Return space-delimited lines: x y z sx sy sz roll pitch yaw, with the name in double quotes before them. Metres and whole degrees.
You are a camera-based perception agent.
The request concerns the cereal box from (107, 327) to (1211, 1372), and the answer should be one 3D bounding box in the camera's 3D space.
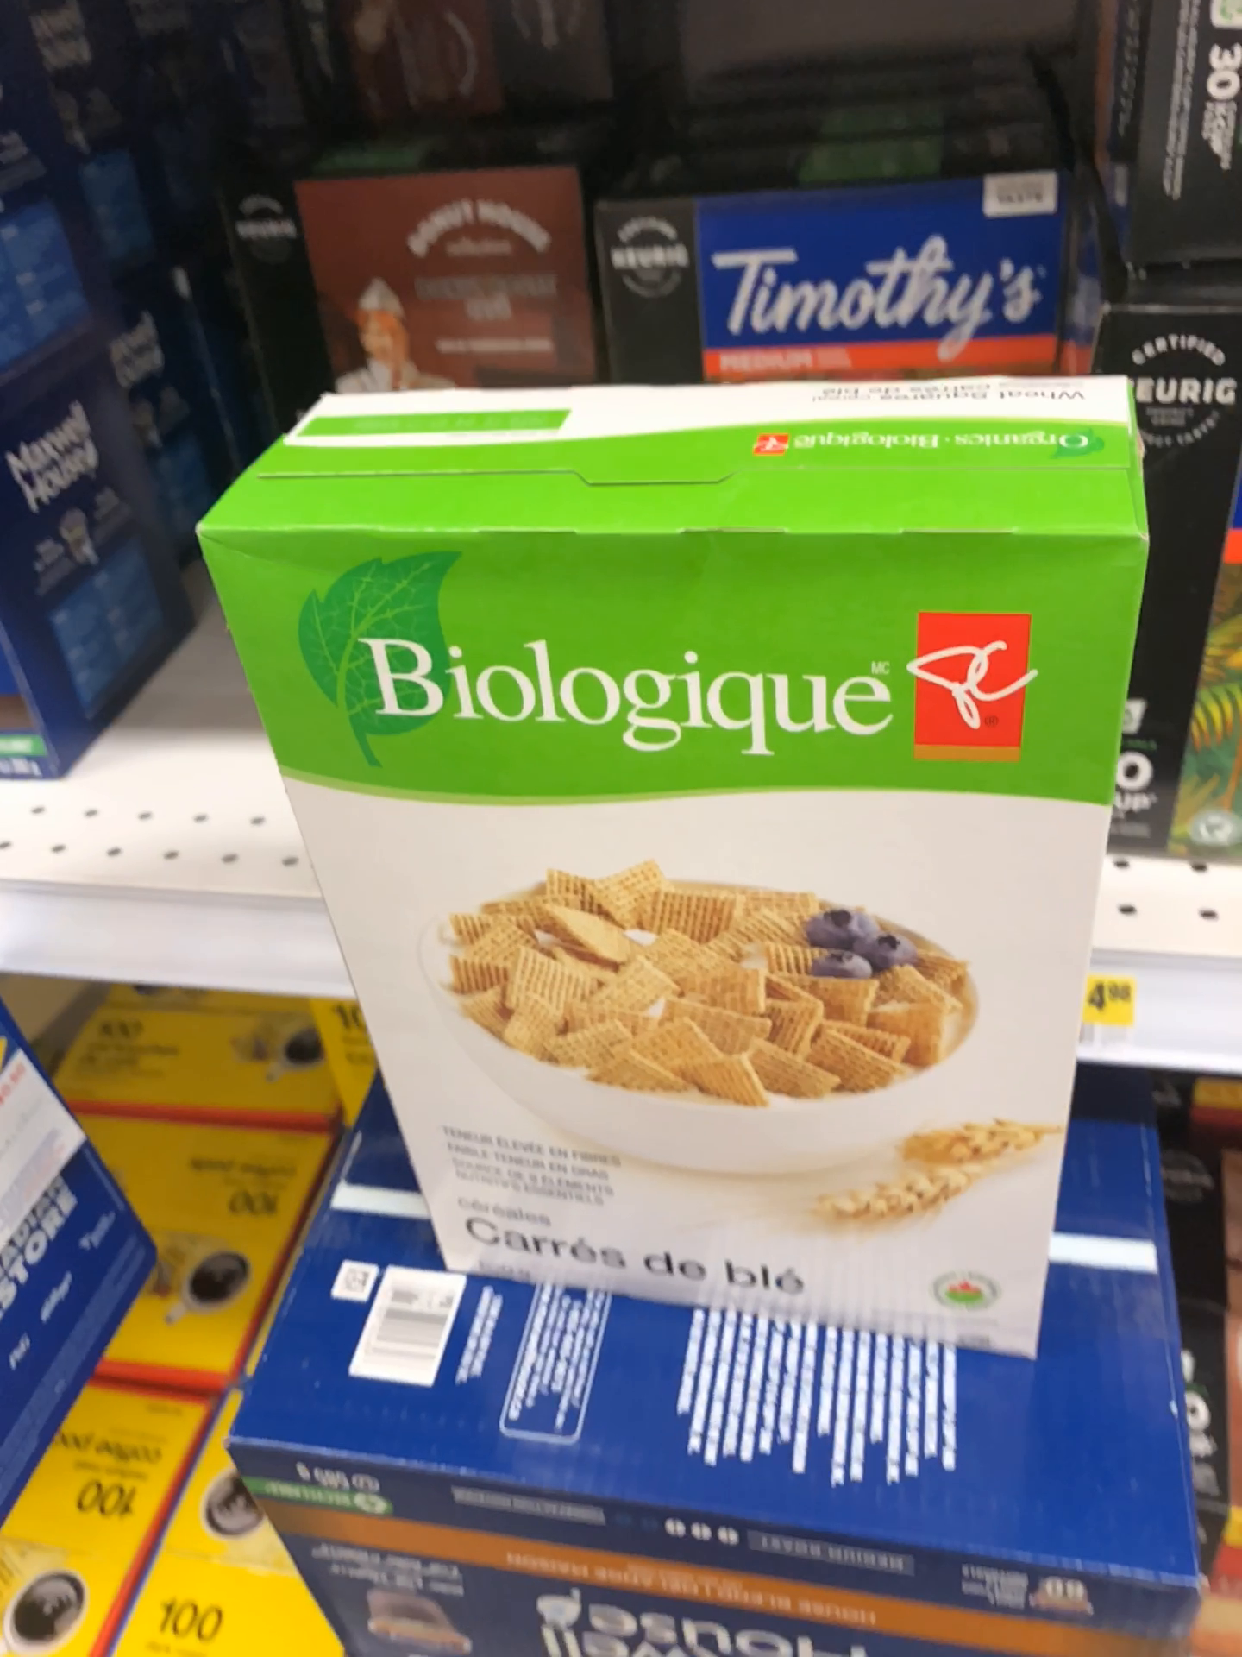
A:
"cereal box" 0.022 0.024 0.375 0.210 0.289 0.070 4 42 15
